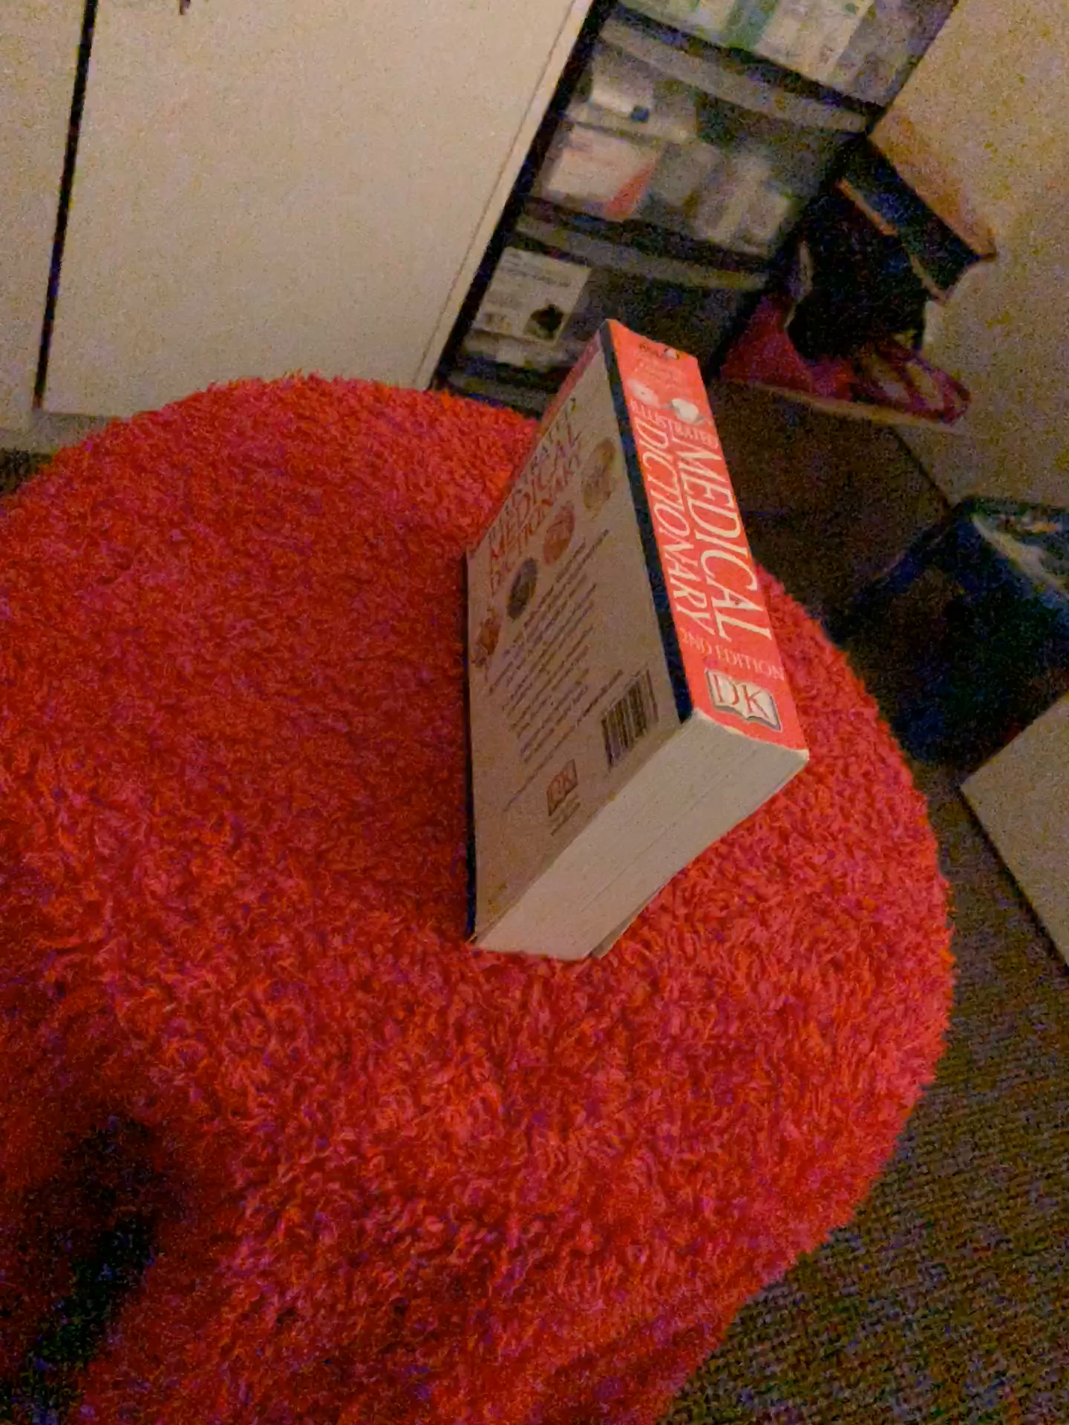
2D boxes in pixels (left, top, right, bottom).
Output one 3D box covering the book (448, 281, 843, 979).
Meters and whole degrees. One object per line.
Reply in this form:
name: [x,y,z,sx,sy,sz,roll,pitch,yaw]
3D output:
book: [0.022,-0.037,0.399,0.050,0.129,0.222,18,44,-24]
